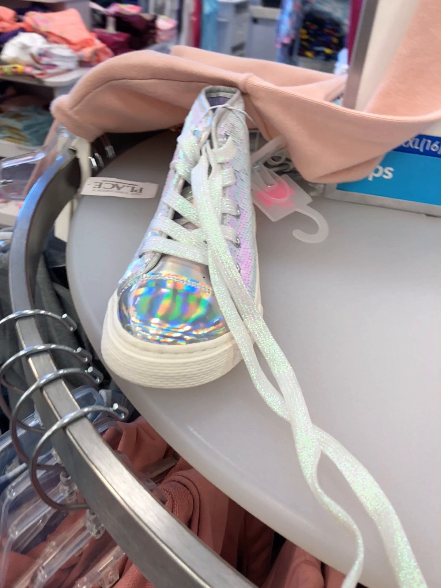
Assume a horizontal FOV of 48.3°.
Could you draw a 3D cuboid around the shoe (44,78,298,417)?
[{"bbox_3d":[-0.010,-0.049,0.301,0.090,0.105,0.212,9,36,6],"label":"shoe"}]
